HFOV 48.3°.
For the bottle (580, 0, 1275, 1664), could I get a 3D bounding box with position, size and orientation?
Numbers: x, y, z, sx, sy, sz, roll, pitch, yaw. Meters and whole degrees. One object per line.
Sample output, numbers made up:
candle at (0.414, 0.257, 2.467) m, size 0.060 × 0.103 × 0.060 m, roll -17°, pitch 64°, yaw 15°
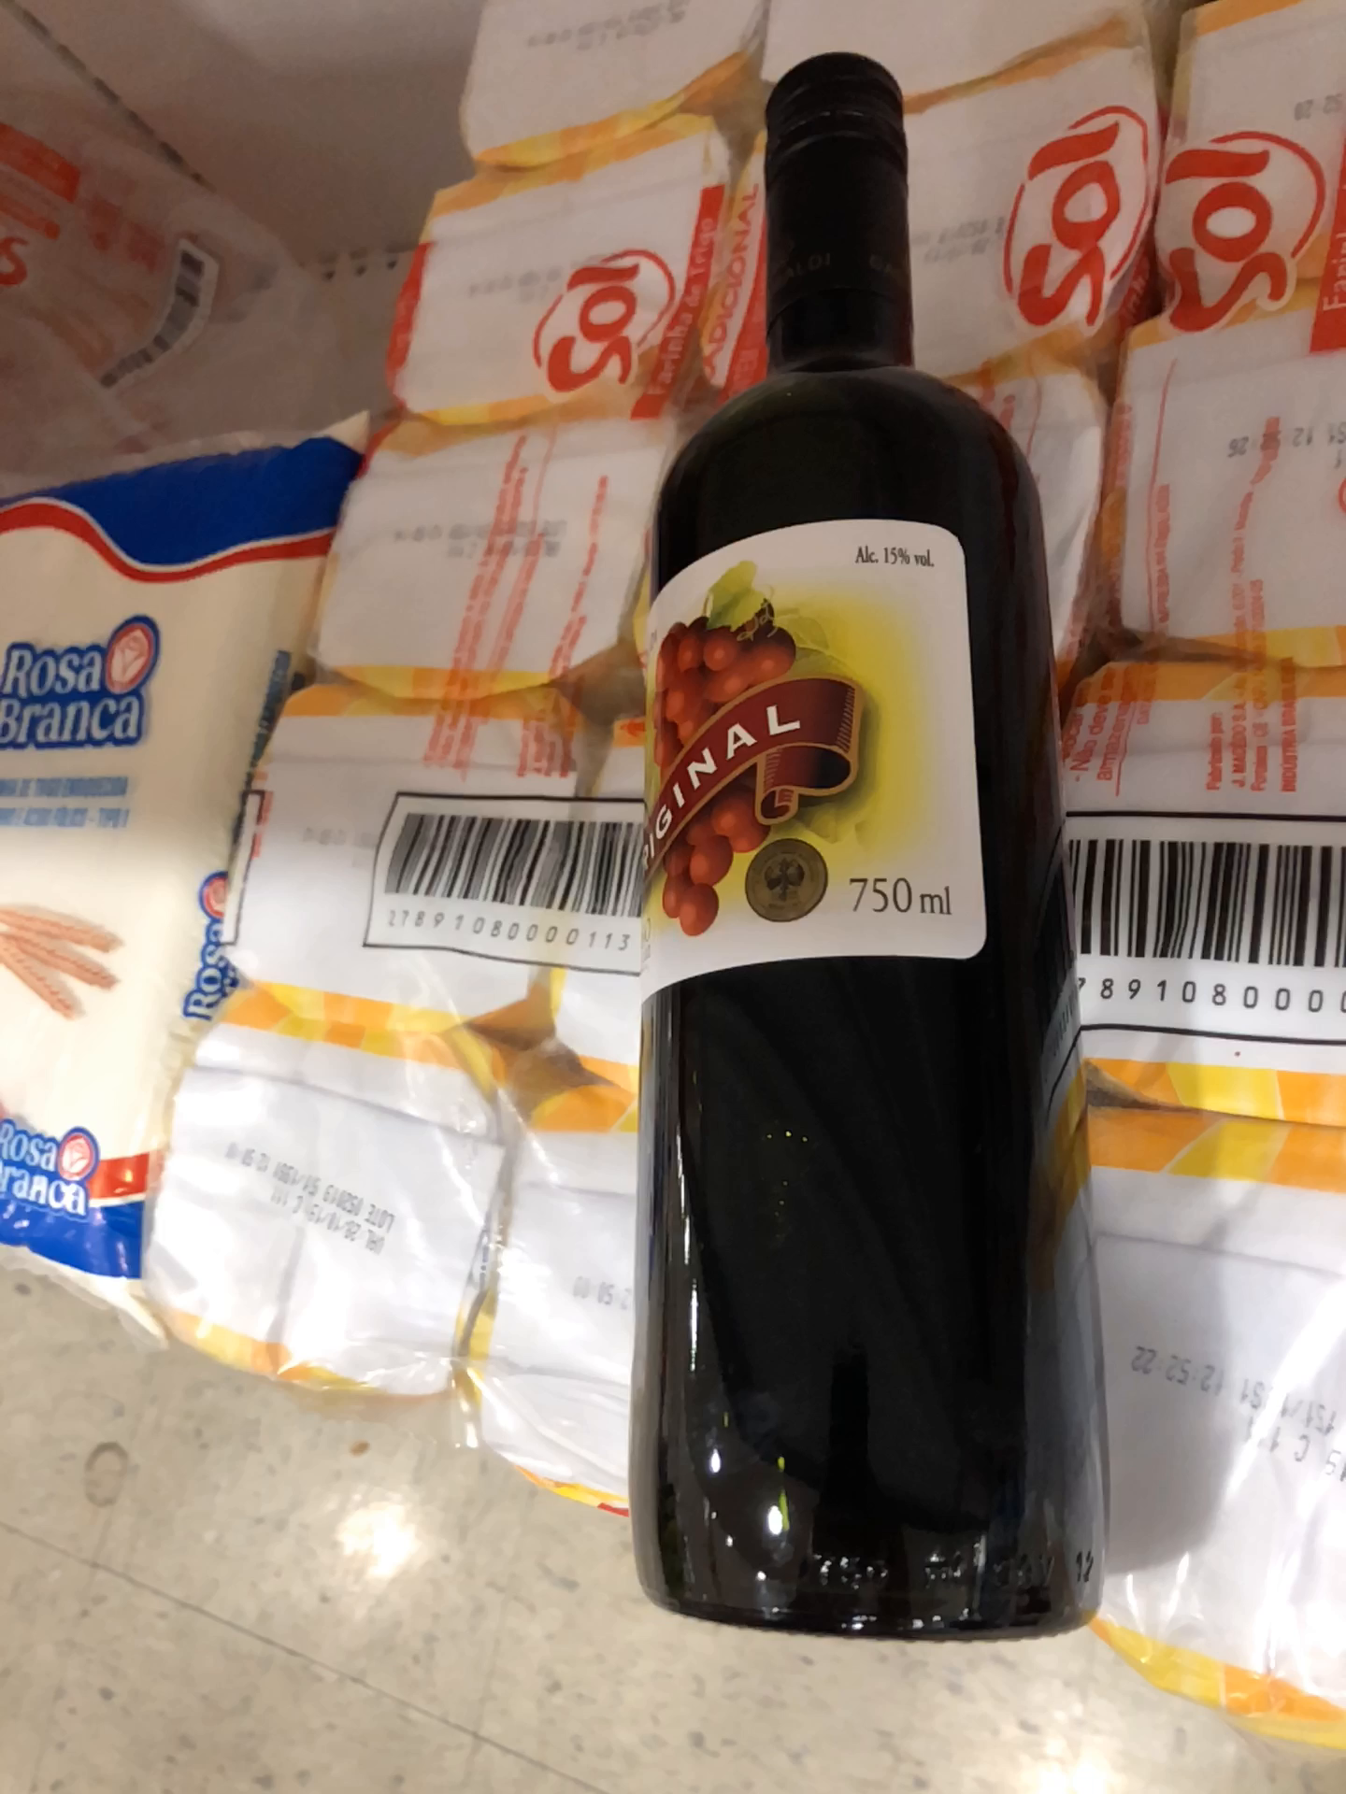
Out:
bottle at (0.043, -0.041, 0.285) m, size 0.080 × 0.070 × 0.321 m, roll -22°, pitch 59°, yaw 50°
